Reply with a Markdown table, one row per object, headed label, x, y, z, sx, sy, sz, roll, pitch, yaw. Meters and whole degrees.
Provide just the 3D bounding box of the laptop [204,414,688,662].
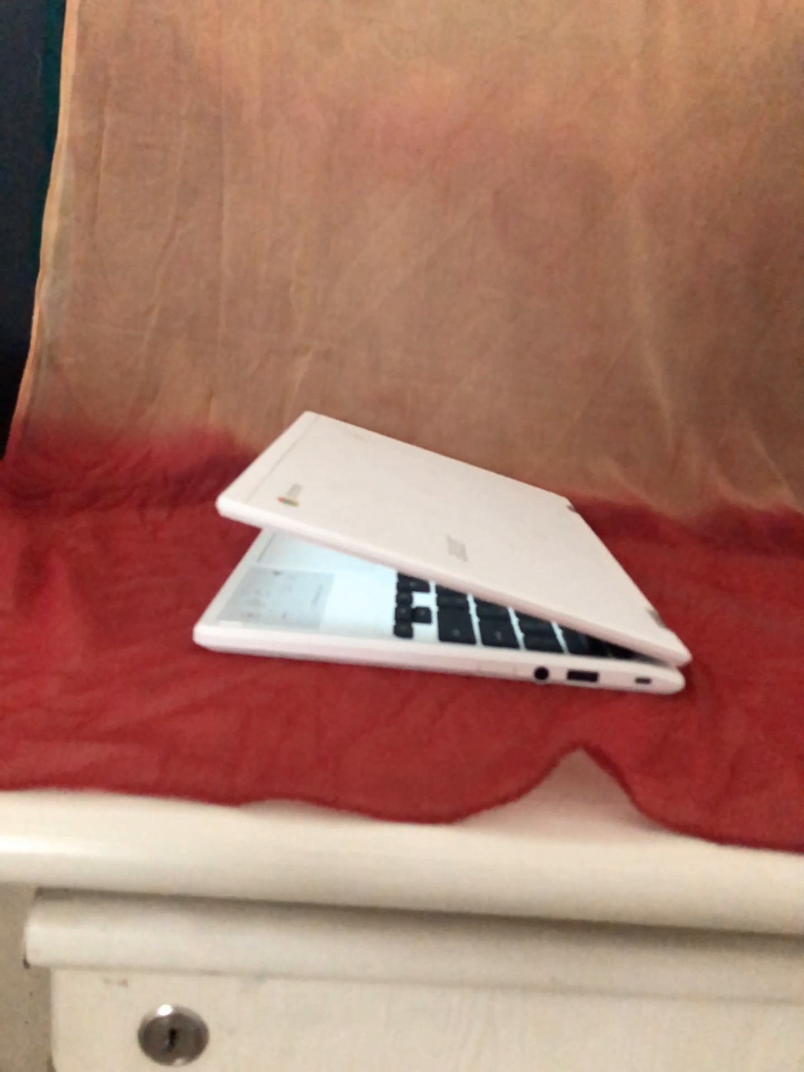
| label | x | y | z | sx | sy | sz | roll | pitch | yaw |
| --- | --- | --- | --- | --- | --- | --- | --- | --- | --- |
| laptop | 0.020 | -0.018 | 0.493 | 0.189 | 0.056 | 0.289 | 5 | 14 | 1 |
